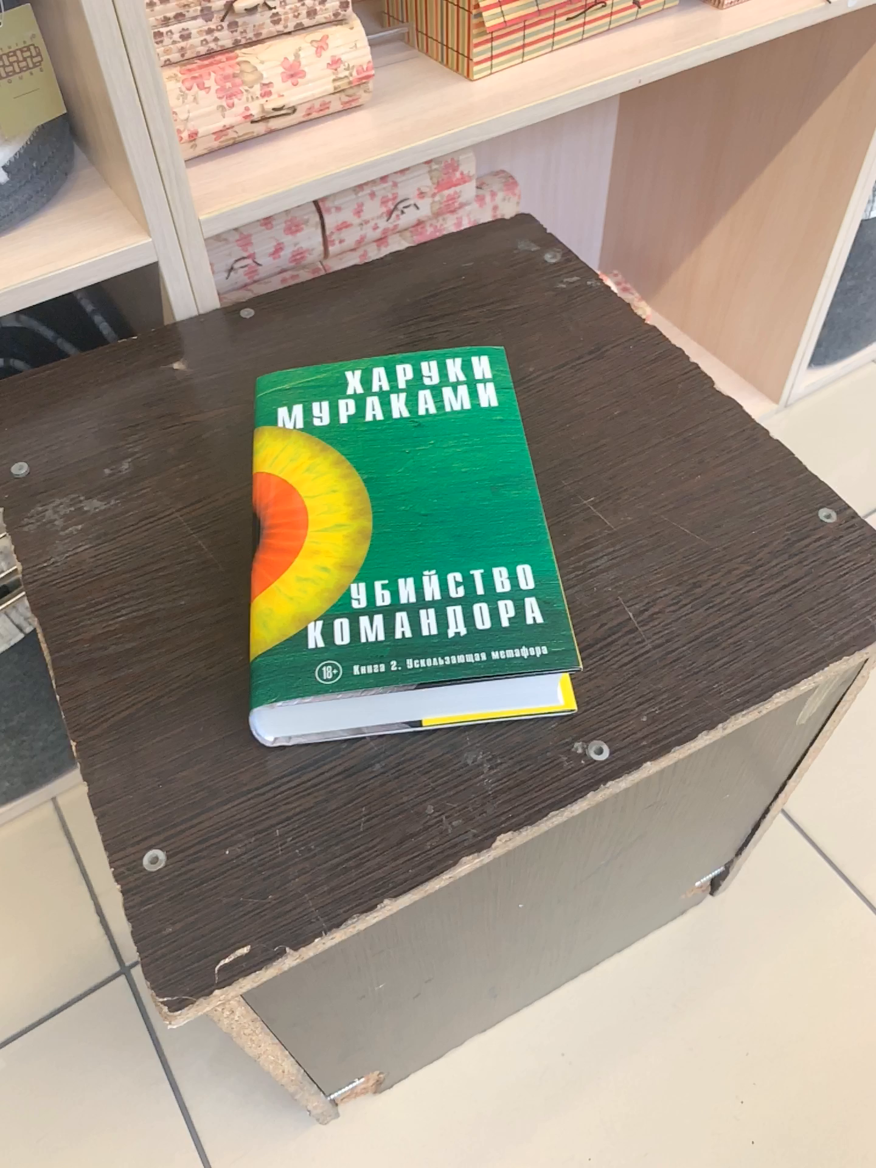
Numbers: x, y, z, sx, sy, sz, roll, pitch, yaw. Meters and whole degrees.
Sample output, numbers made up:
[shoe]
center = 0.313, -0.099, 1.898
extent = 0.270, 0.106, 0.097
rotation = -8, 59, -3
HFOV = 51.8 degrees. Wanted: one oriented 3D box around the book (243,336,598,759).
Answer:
[book]
center = -0.018, -0.029, 0.461
extent = 0.150, 0.050, 0.217
rotation = -6, 55, -3
